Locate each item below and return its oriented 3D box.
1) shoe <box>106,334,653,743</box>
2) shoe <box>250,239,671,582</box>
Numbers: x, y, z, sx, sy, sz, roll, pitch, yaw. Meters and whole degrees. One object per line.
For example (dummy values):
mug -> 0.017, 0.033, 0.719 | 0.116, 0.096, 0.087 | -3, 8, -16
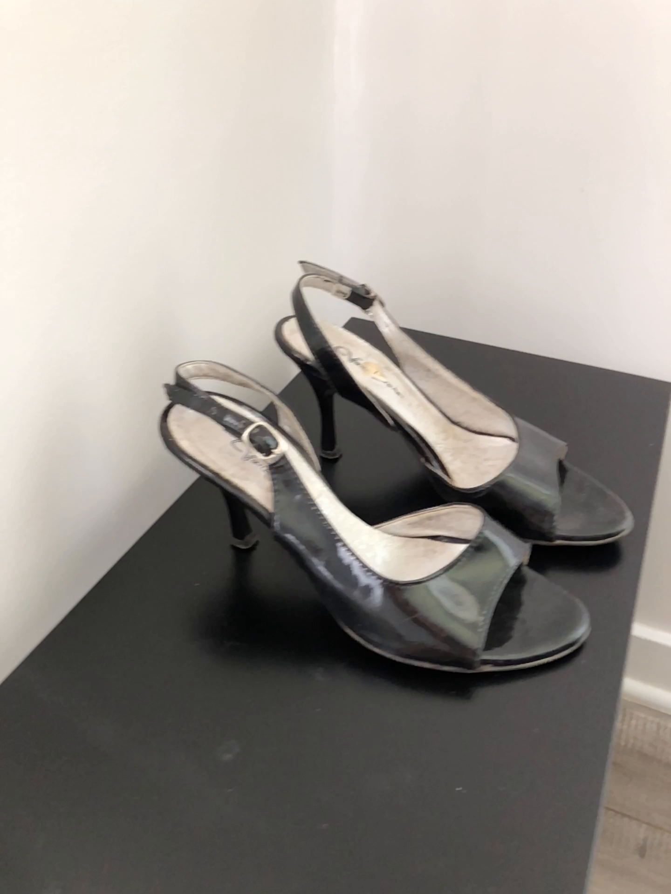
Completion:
shoe -> 0.018, 0.034, 0.338 | 0.210, 0.110, 0.084 | 13, 38, 17
shoe -> 0.069, -0.028, 0.402 | 0.210, 0.110, 0.083 | 17, 39, 21
